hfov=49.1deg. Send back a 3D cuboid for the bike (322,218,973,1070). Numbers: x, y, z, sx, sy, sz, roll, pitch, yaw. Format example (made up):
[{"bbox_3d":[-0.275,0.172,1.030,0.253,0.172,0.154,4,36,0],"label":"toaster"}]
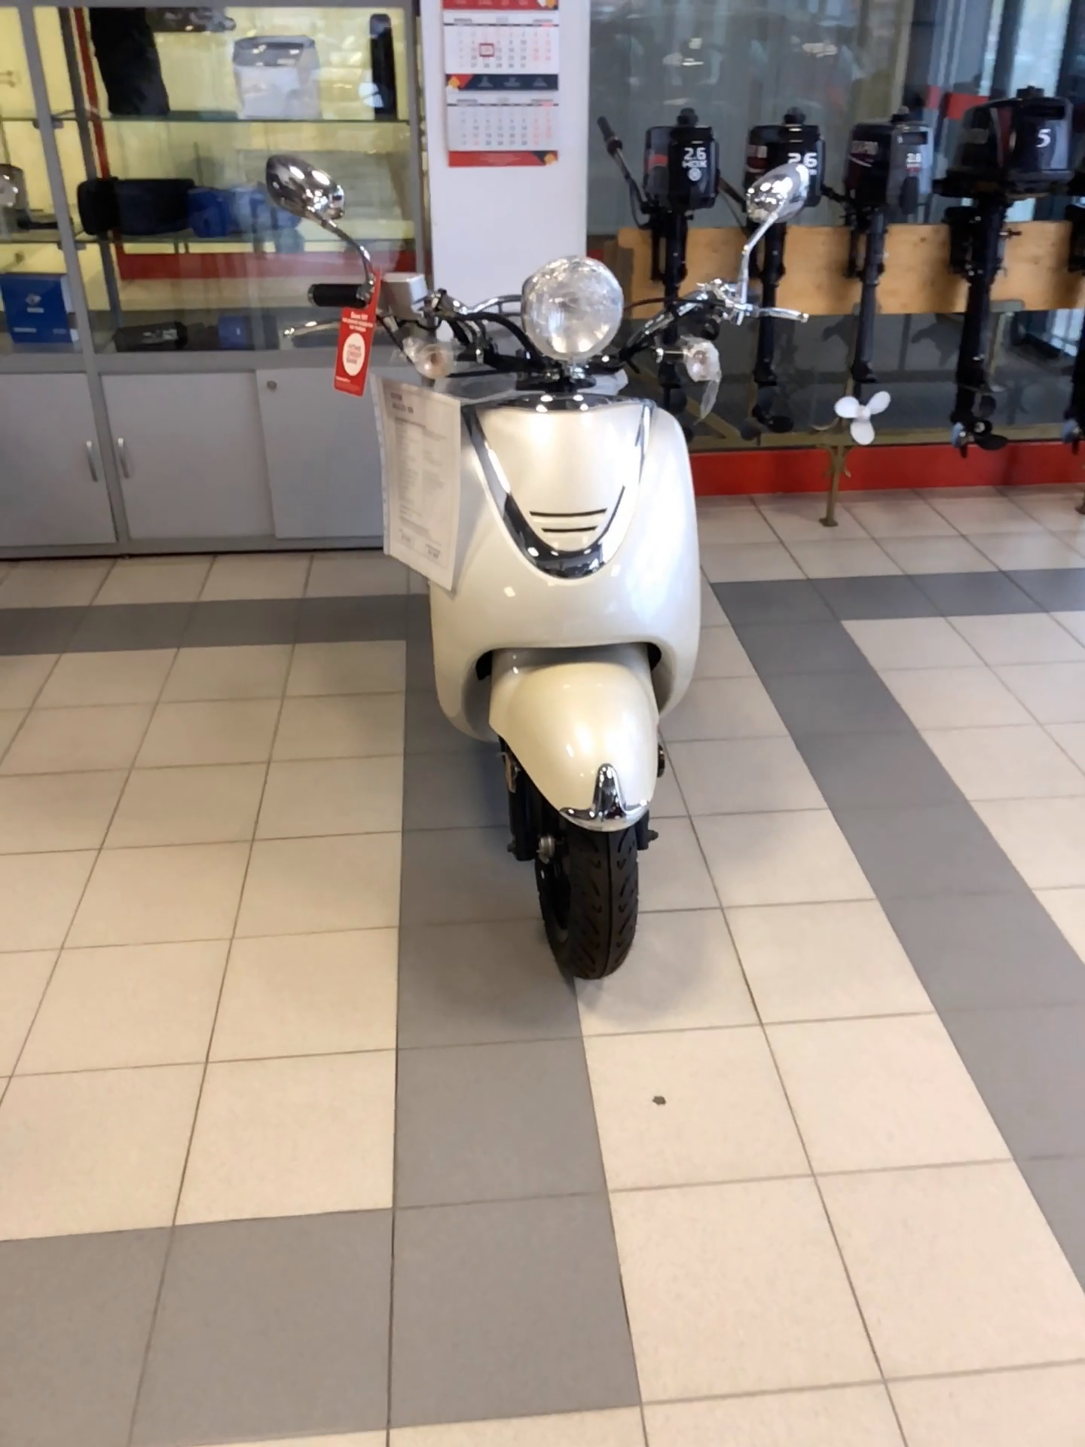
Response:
[{"bbox_3d":[0.055,-0.335,2.394,0.804,0.963,1.692,-2,32,-4],"label":"bike"}]
